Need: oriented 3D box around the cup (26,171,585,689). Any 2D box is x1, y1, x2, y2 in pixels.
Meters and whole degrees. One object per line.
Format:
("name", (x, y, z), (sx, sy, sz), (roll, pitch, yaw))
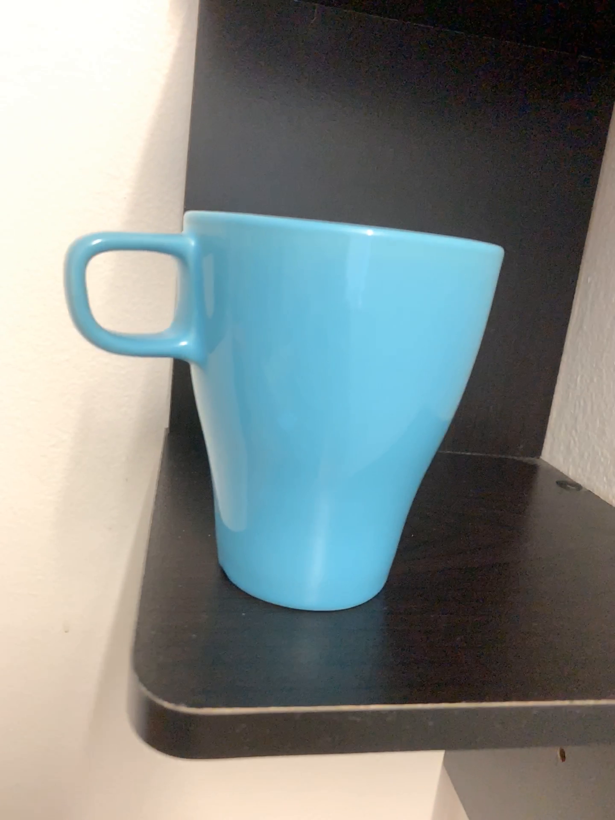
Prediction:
("cup", (-0.006, -0.007, 0.174), (0.110, 0.090, 0.090), (-2, 16, -36))
